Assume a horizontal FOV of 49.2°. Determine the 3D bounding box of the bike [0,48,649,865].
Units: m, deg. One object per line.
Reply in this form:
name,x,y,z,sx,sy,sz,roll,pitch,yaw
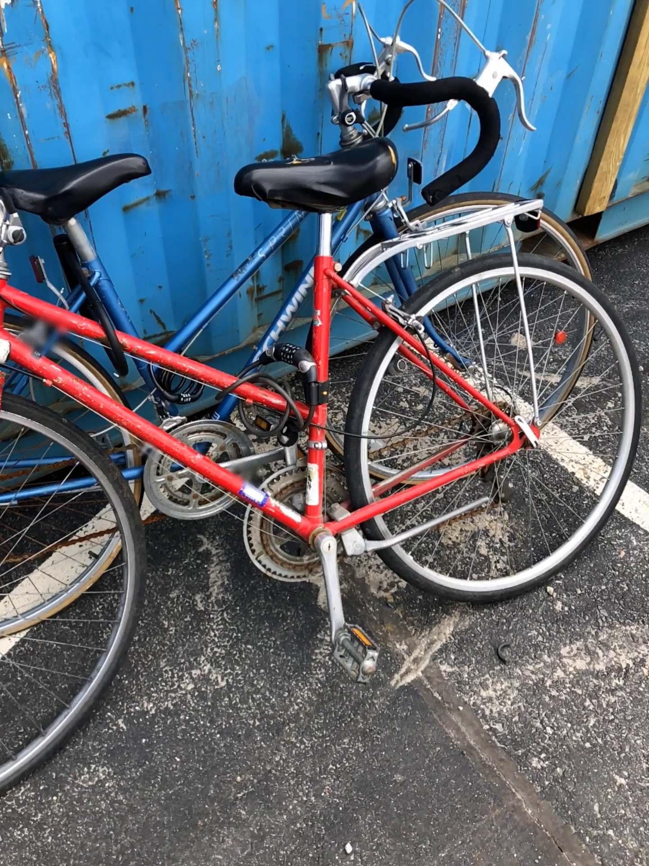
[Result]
bike,-0.157,-0.075,1.185,1.643,0.824,0.485,-19,48,-23
